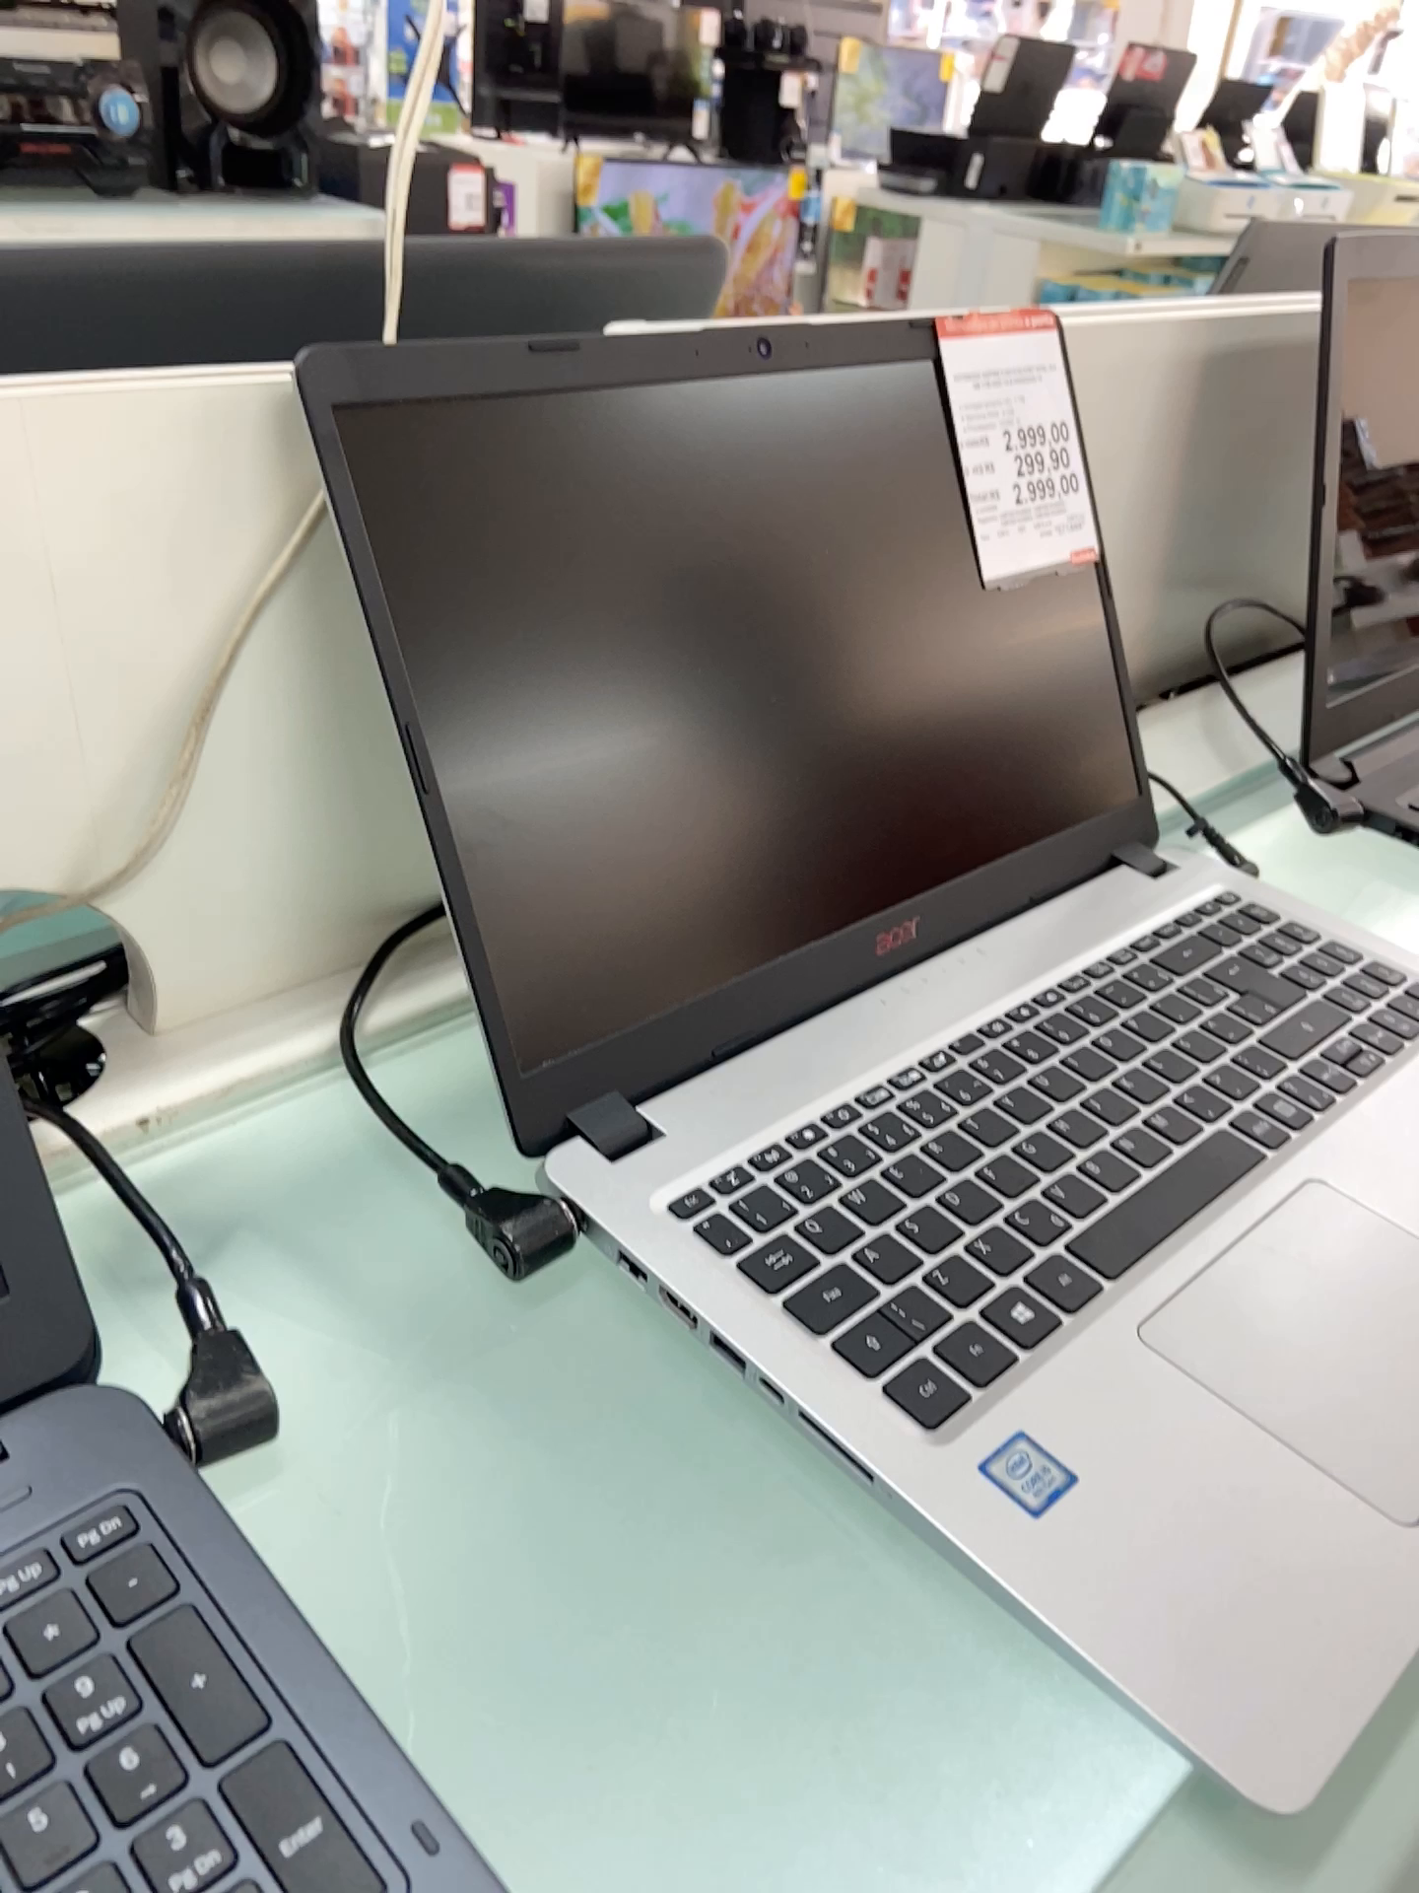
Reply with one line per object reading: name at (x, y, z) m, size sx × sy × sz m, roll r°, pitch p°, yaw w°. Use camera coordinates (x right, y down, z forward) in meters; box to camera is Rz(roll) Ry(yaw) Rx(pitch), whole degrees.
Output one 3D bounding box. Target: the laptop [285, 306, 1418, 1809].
laptop at (0.132, -0.053, 0.464) m, size 0.368 × 0.205 × 0.373 m, roll -22°, pitch 42°, yaw -39°
